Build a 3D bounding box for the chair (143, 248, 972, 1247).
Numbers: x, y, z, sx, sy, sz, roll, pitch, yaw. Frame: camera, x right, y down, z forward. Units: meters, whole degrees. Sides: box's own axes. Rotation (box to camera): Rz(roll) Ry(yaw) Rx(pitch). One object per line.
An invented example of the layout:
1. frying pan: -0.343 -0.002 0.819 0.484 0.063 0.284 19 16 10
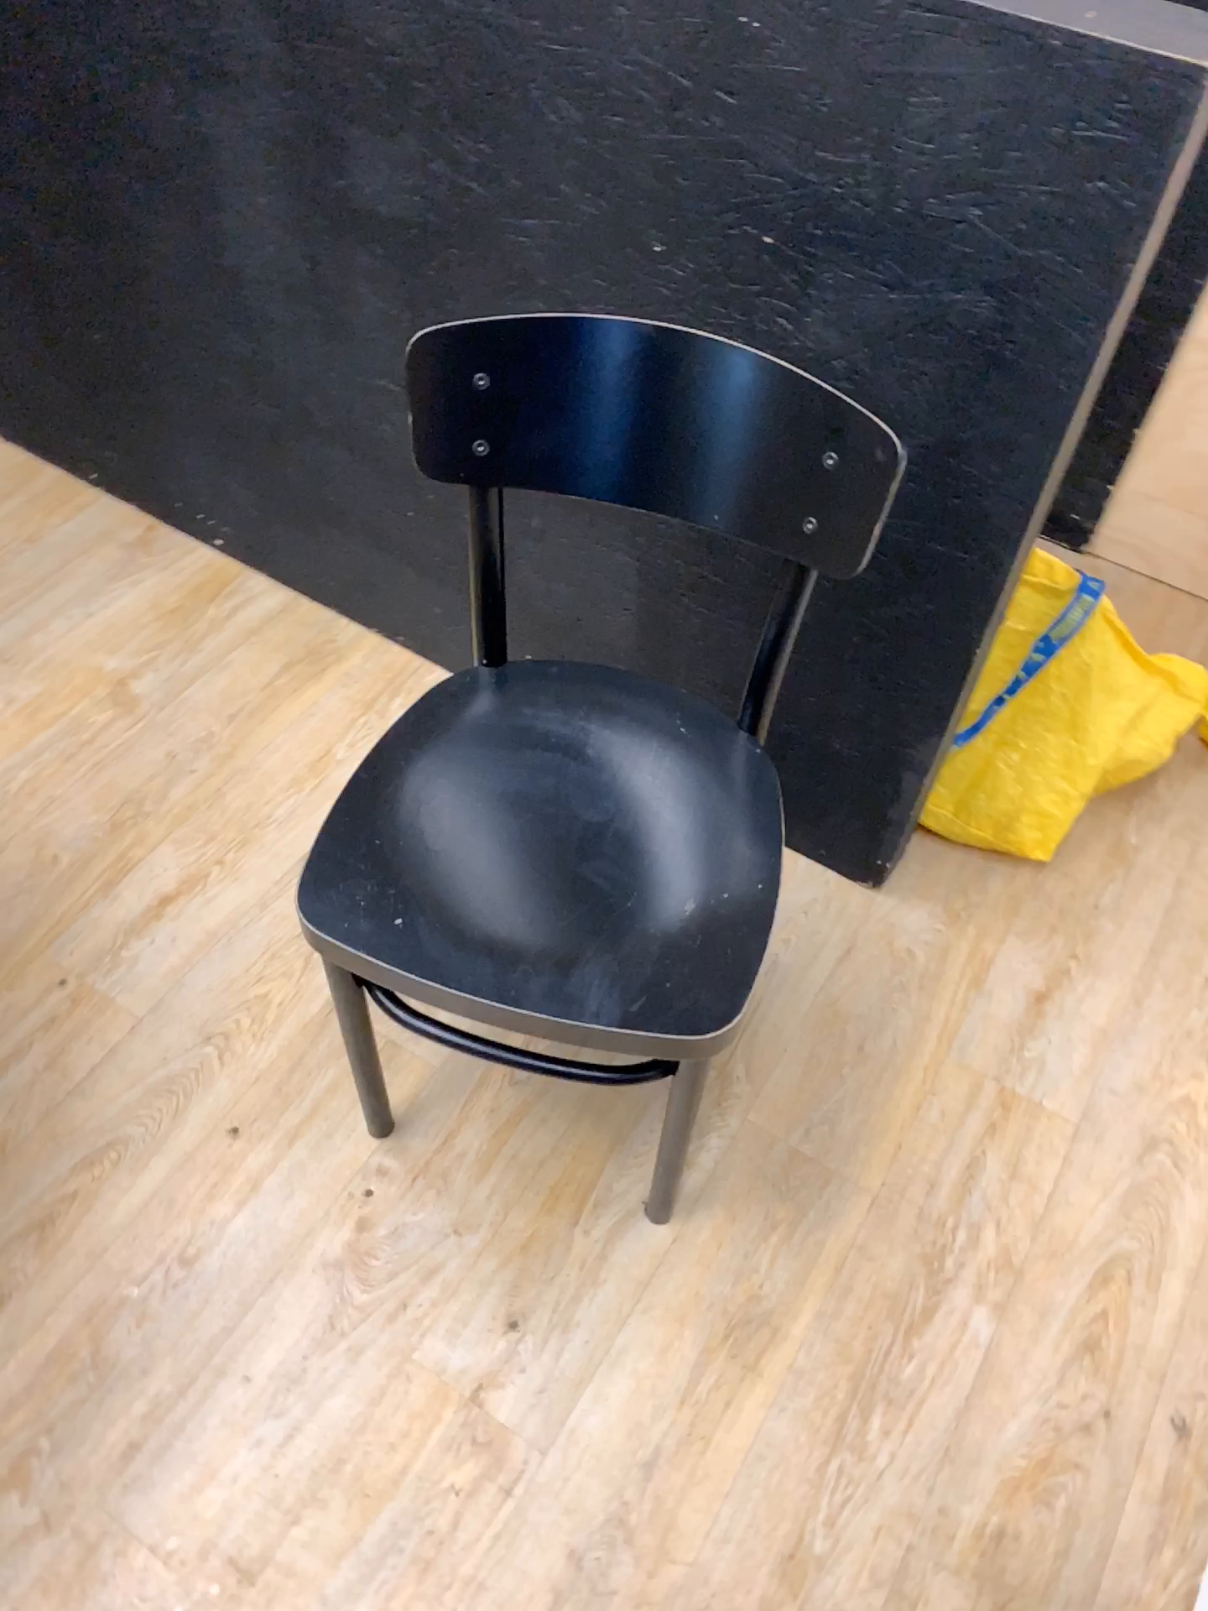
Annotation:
1. chair: -0.015 -0.007 1.077 0.440 0.698 0.441 14 51 7
